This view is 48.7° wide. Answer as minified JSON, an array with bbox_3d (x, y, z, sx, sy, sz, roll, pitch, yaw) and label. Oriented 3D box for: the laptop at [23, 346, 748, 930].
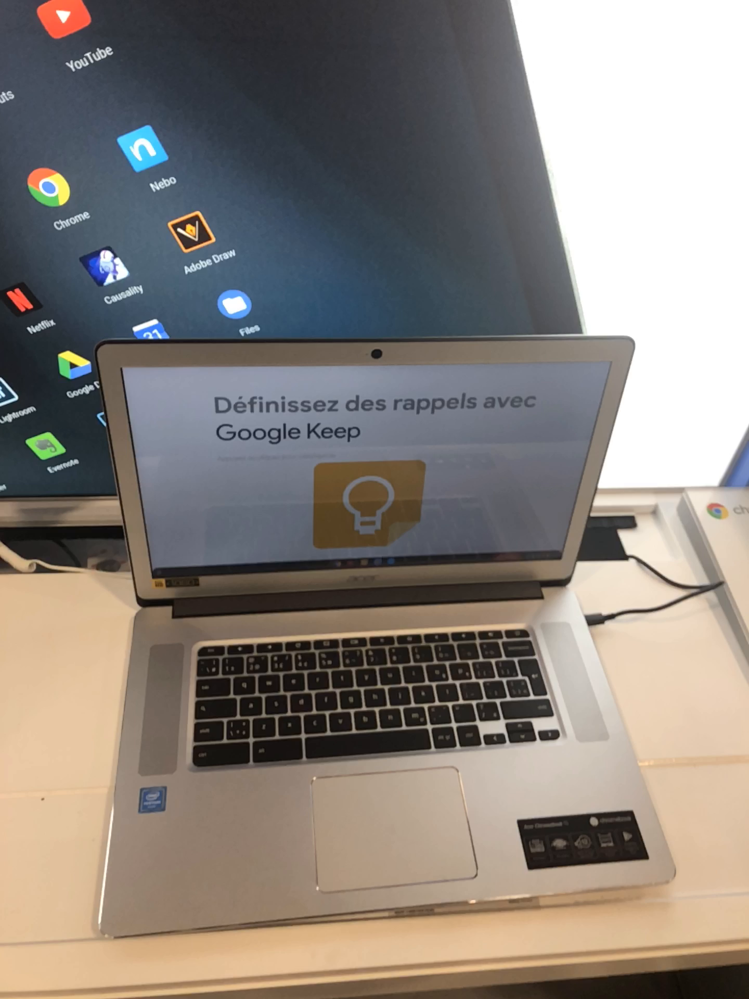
[{"bbox_3d":[0.009,0.080,0.560,0.371,0.243,0.283,-2,46,-8],"label":"laptop"}]
